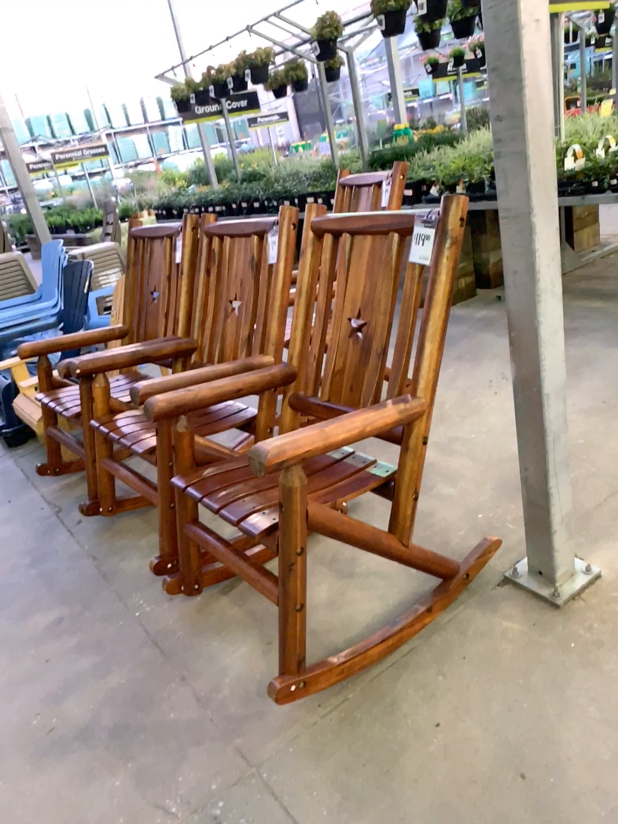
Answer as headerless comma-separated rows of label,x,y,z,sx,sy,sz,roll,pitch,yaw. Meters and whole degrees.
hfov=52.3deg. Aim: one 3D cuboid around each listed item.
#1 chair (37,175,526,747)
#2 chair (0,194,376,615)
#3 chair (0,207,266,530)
chair,0.005,0.038,1.846,1.019,1.158,0.675,-26,27,-30
chair,-0.432,-0.106,2.409,1.019,1.158,0.675,-26,27,-30
chair,-0.933,-0.272,3.055,1.019,1.158,0.675,-26,27,-30
